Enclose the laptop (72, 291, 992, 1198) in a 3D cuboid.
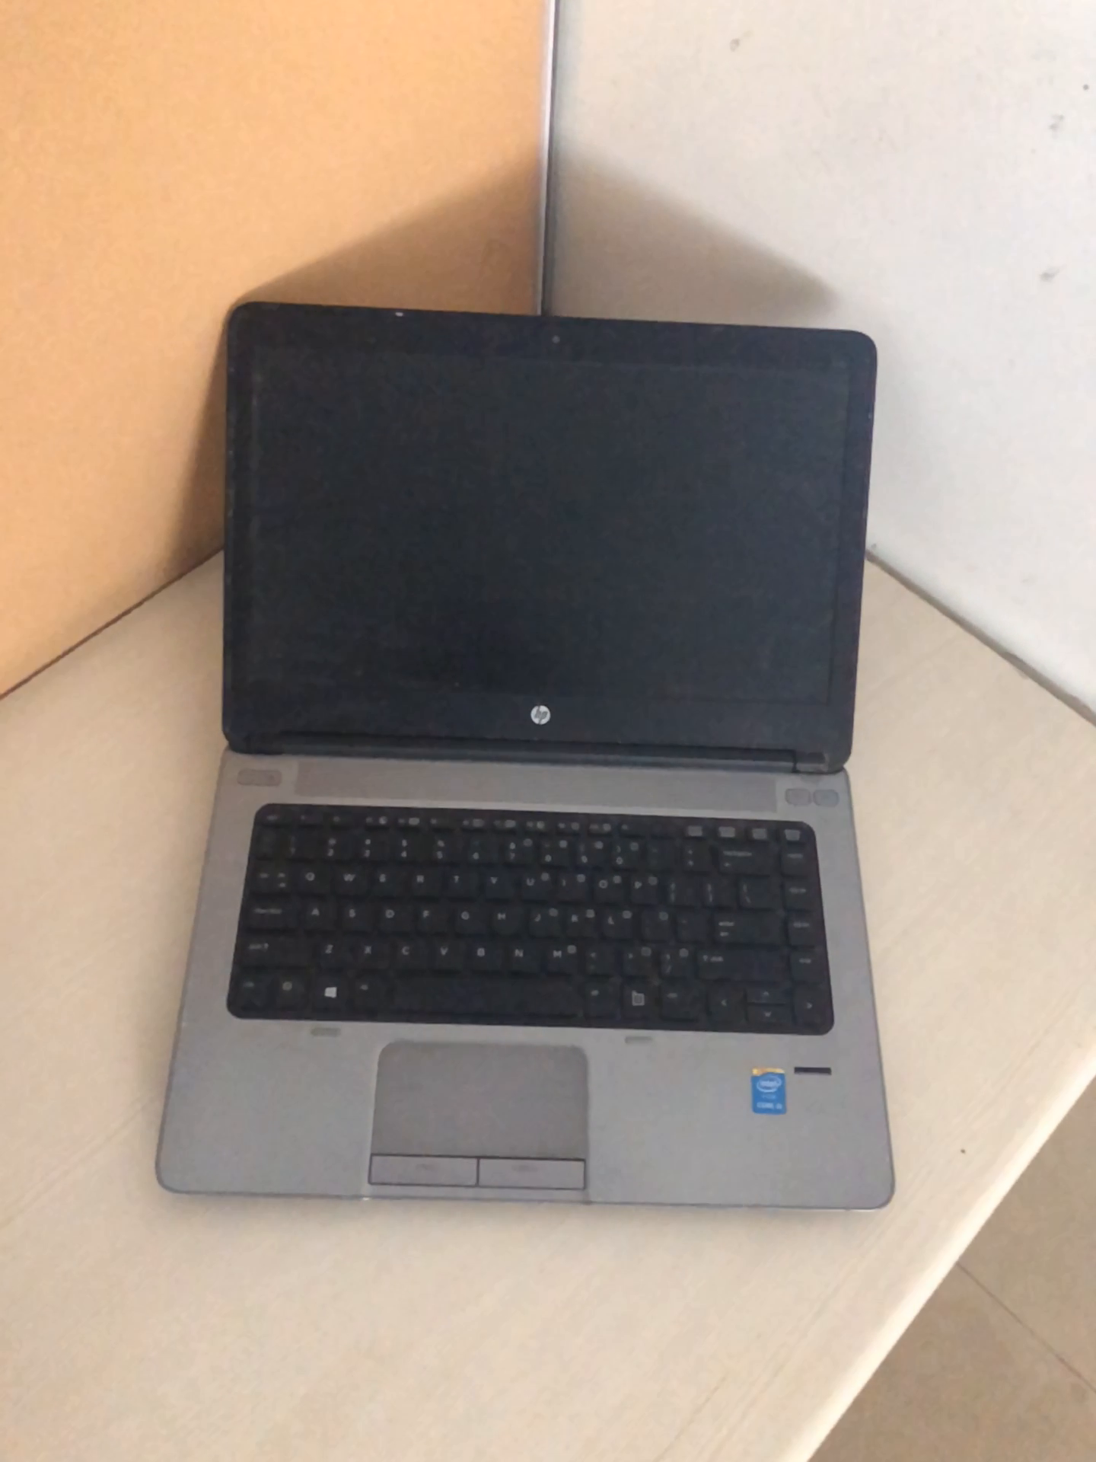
[{"bbox_3d":[0.000,-0.007,0.562,0.316,0.125,0.392,3,61,-2],"label":"laptop"}]
